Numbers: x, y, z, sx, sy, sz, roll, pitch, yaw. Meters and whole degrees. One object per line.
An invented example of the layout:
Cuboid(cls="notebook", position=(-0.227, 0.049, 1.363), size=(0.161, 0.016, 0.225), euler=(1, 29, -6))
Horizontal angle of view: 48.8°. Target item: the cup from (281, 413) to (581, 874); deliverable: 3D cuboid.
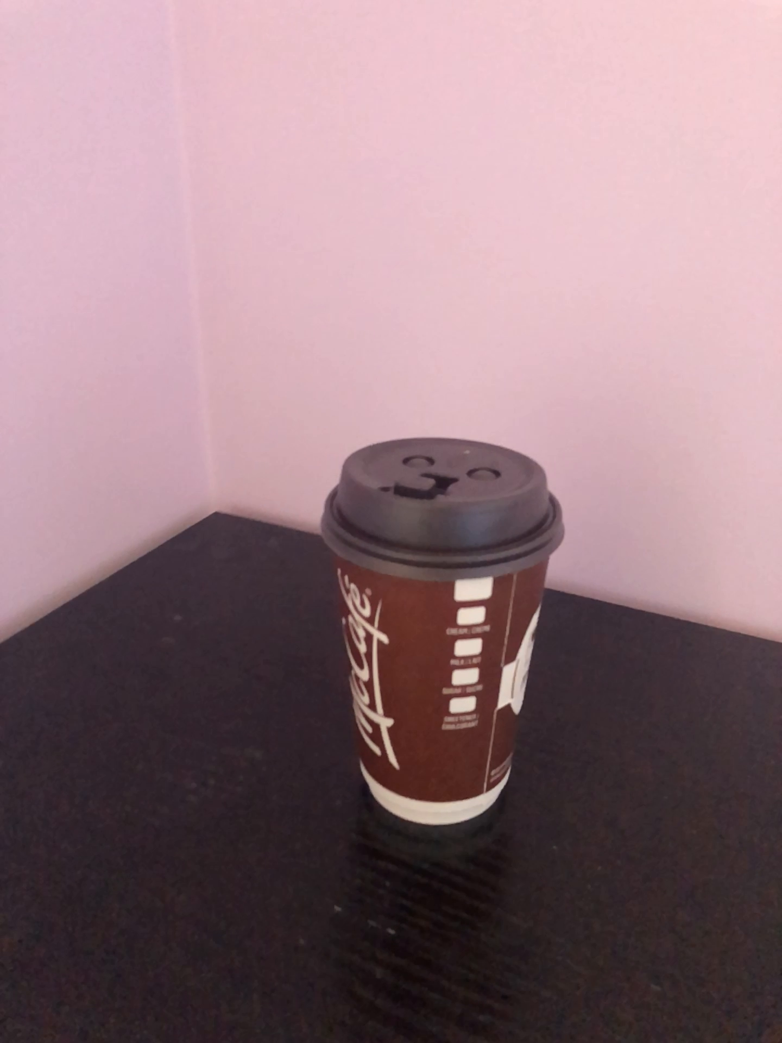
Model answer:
Cuboid(cls="cup", position=(0.019, 0.042, 0.337), size=(0.090, 0.139, 0.090), euler=(0, 25, 0))
